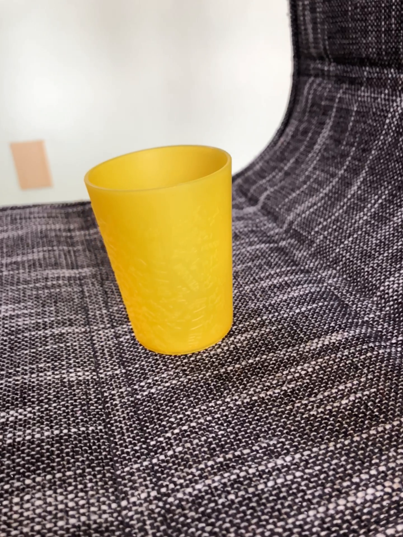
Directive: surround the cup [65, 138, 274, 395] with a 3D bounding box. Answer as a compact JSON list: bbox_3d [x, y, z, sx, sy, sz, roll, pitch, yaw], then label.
[{"bbox_3d":[-0.013,-0.005,0.197,0.060,0.080,0.060,-6,29,4],"label":"cup"}]
